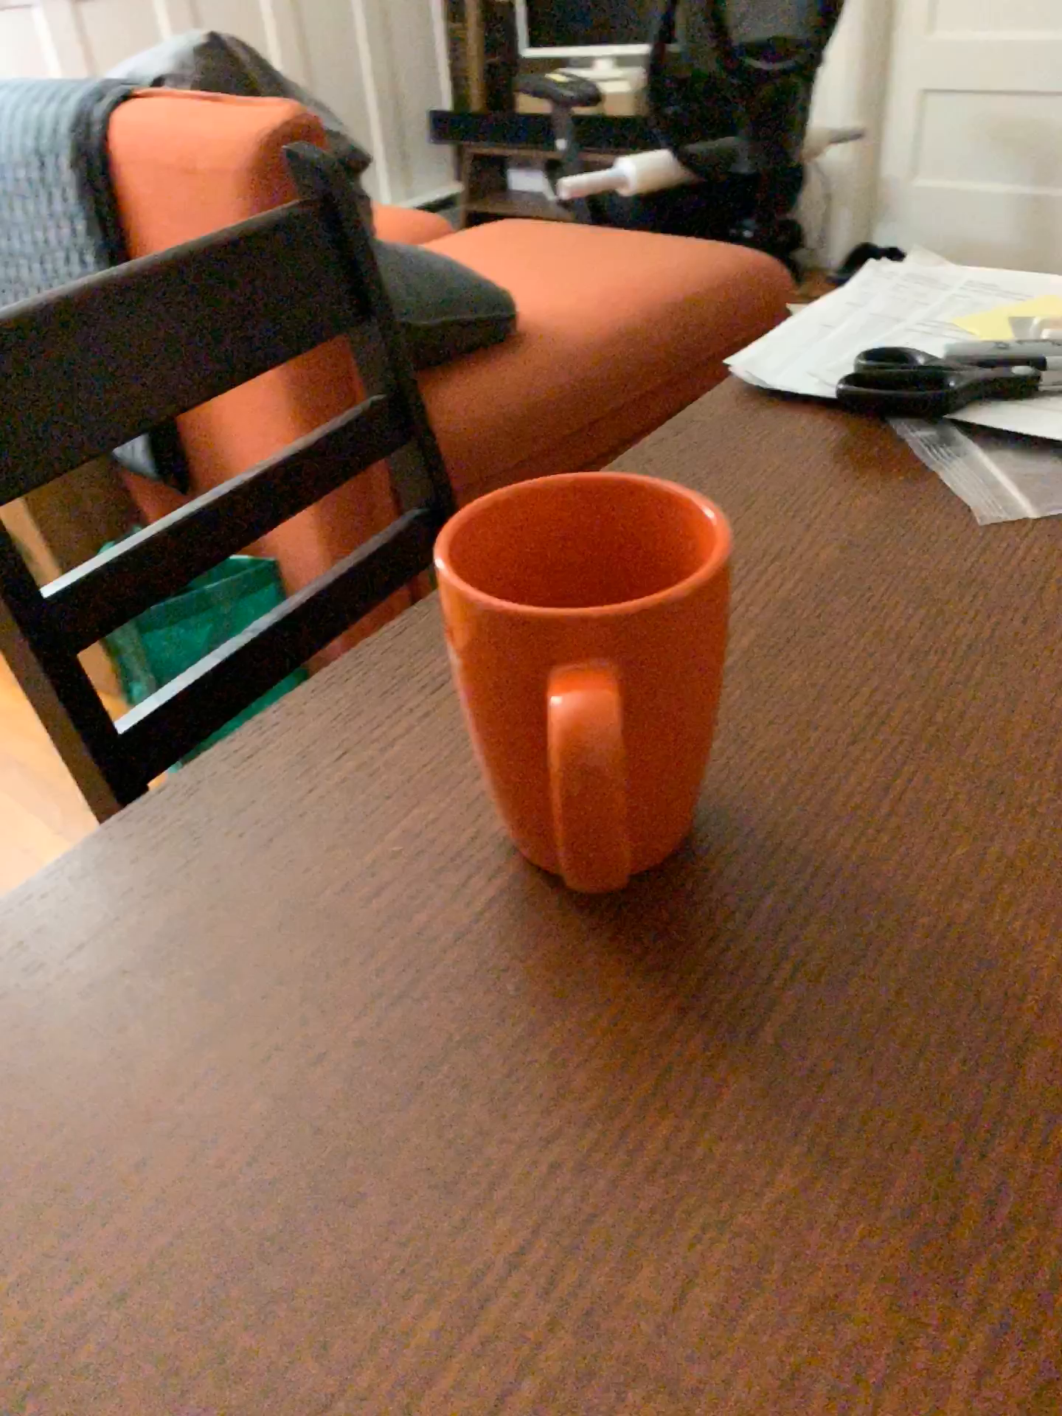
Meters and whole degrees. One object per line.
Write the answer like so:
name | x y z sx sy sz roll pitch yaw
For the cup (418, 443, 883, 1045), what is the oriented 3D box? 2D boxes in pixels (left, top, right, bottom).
cup | 0.027 0.005 0.319 0.100 0.109 0.131 -5 36 0
